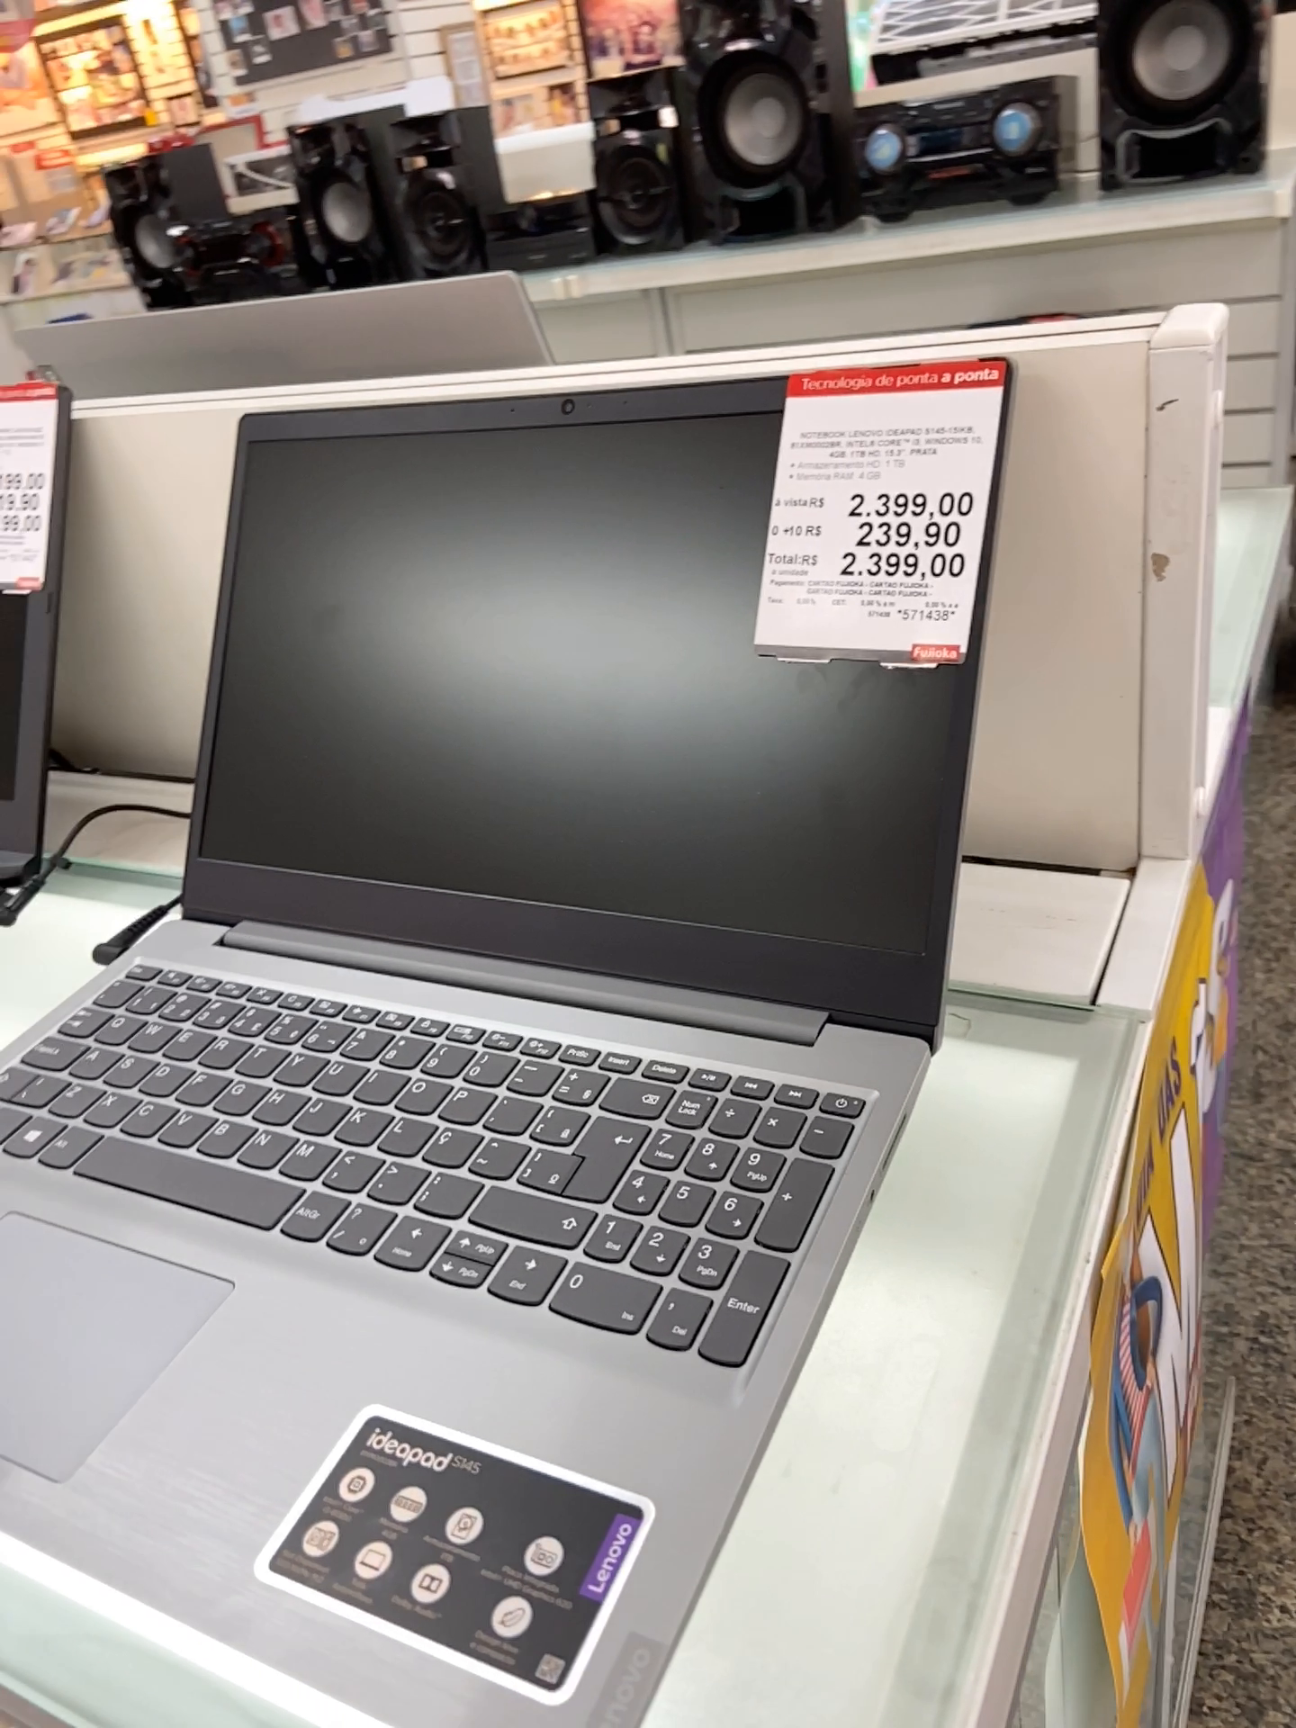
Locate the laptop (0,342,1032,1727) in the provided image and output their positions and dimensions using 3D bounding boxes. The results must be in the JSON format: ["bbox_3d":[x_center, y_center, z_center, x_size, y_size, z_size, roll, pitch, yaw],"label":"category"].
[{"bbox_3d":[-0.104,-0.010,0.459,0.370,0.192,0.404,6,36,28],"label":"laptop"}]
